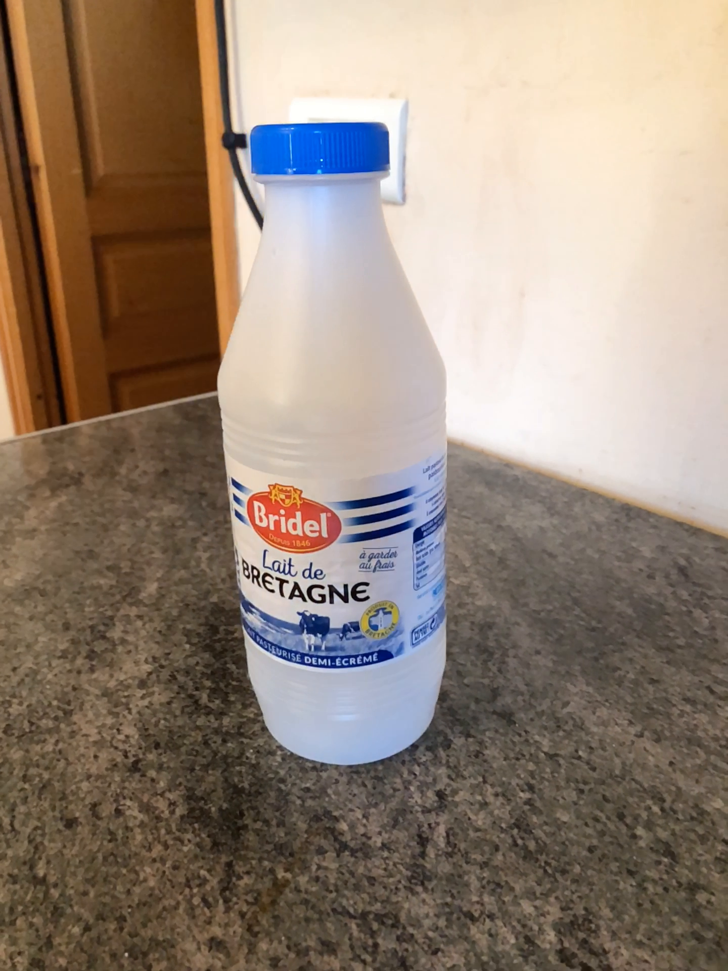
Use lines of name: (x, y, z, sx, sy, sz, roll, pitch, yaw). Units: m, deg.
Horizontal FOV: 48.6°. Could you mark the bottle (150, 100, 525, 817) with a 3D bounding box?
bottle: (-0.005, -0.012, 0.309, 0.090, 0.239, 0.091, 0, 22, 0)
